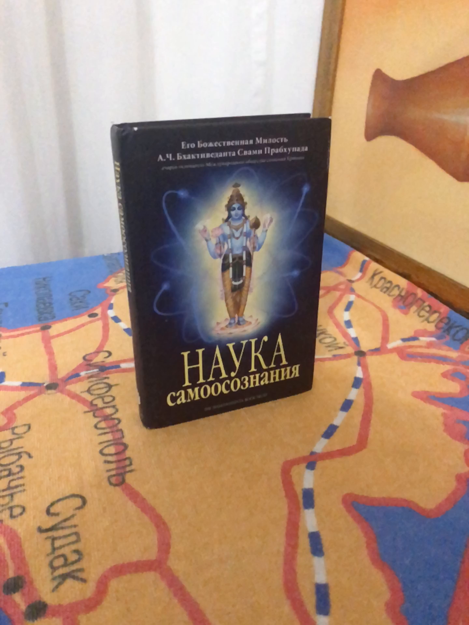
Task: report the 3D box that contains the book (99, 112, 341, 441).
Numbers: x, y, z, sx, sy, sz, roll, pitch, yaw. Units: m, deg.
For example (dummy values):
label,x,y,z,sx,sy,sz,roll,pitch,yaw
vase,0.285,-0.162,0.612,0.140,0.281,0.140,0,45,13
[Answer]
label,x,y,z,sx,sy,sz,roll,pitch,yaw
book,-0.006,-0.021,0.348,0.140,0.206,0.030,-10,29,-19
